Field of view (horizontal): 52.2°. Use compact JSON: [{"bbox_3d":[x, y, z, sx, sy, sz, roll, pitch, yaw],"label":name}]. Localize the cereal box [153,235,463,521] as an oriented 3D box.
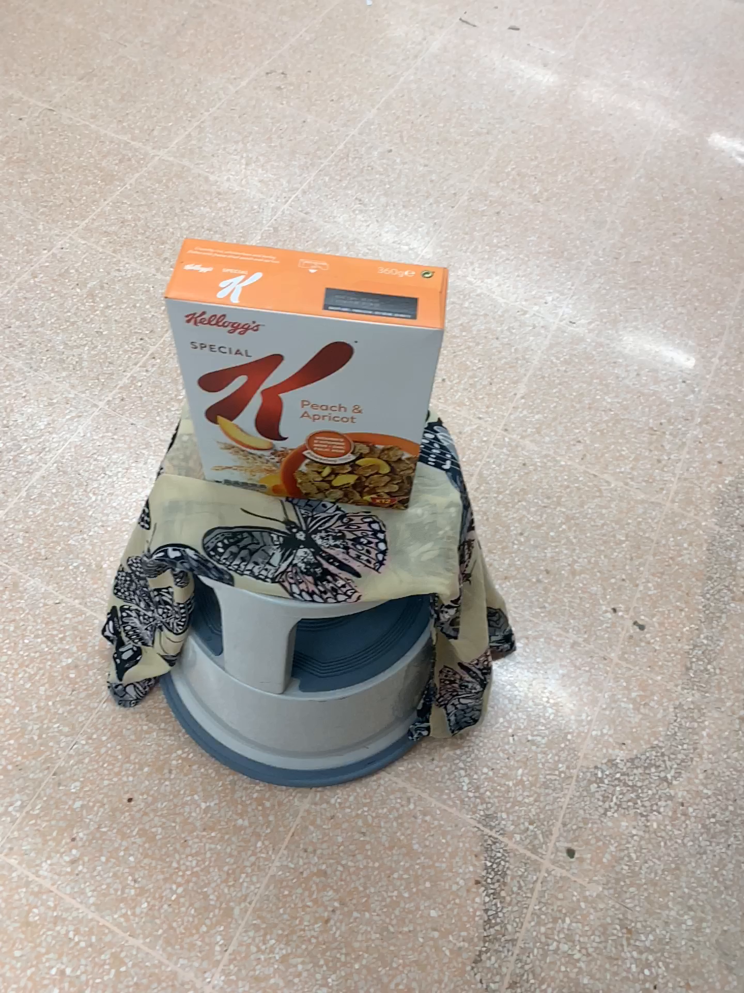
[{"bbox_3d":[-0.052,-0.082,0.648,0.210,0.268,0.060,7,59,-1],"label":"cereal box"}]
